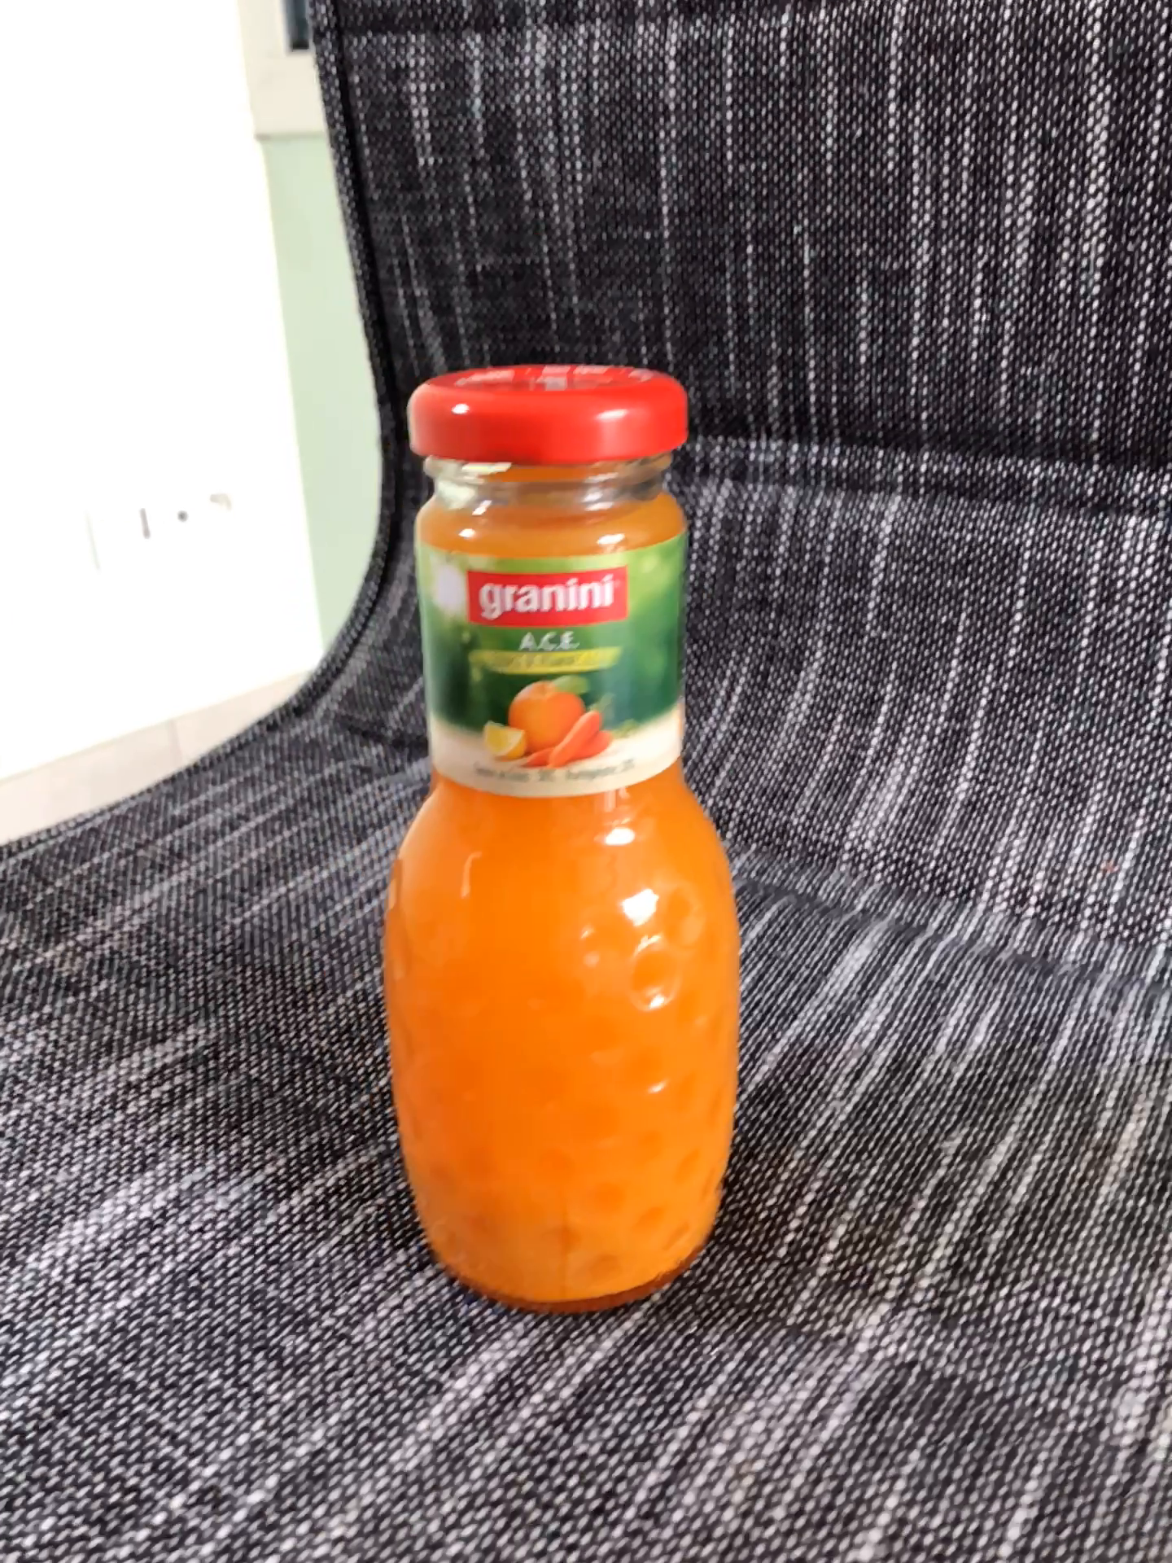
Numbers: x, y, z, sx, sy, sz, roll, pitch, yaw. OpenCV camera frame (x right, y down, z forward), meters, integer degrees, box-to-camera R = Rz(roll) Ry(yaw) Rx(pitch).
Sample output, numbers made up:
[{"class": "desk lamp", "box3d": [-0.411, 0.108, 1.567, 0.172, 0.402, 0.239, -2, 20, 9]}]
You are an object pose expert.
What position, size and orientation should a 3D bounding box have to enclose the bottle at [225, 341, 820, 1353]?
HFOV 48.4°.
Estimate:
[{"class": "bottle", "box3d": [-0.003, 0.012, 0.210, 0.070, 0.149, 0.060, 0, 25, 5]}]
